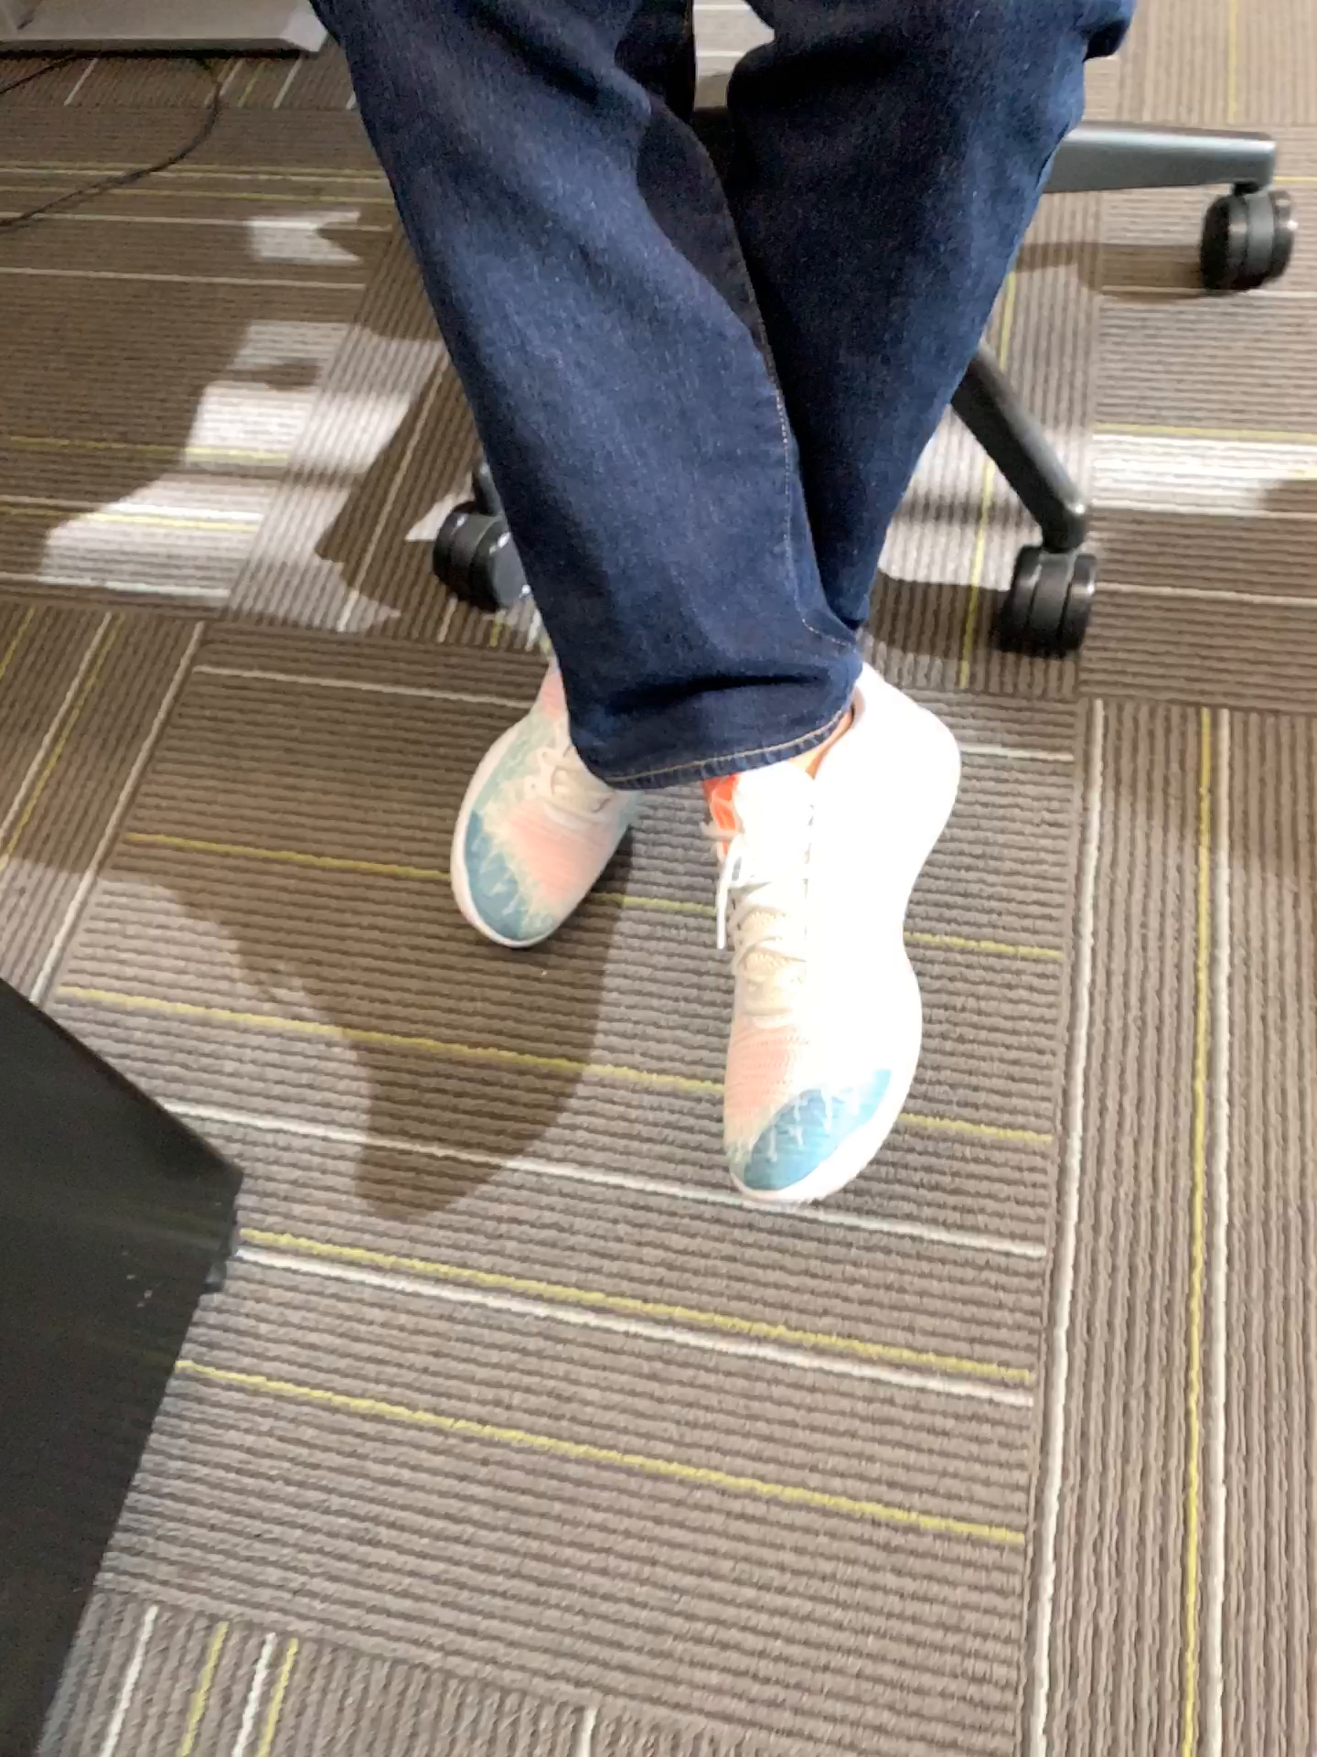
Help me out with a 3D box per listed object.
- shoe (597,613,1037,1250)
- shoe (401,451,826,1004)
[{"bbox_3d":[0.080,0.028,0.653,0.113,0.108,0.266,26,68,-24],"label":"shoe"},{"bbox_3d":[-0.023,-0.088,0.789,0.115,0.109,0.286,30,65,-10],"label":"shoe"}]
